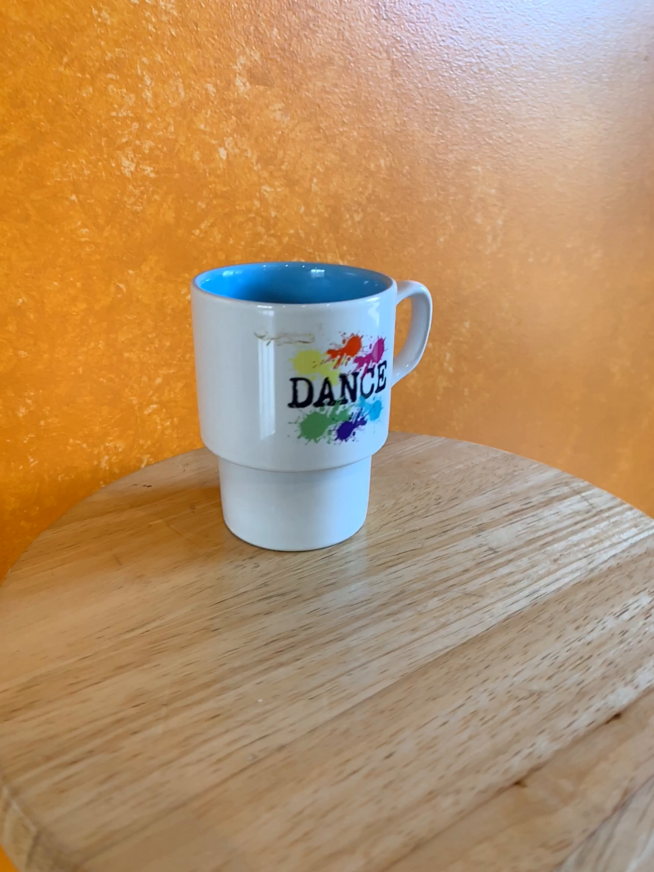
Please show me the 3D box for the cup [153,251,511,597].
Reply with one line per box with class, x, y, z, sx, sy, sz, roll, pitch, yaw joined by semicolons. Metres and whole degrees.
cup;-0.001;-0.015;0.293;0.120;0.109;0.080;-11;26;-26
